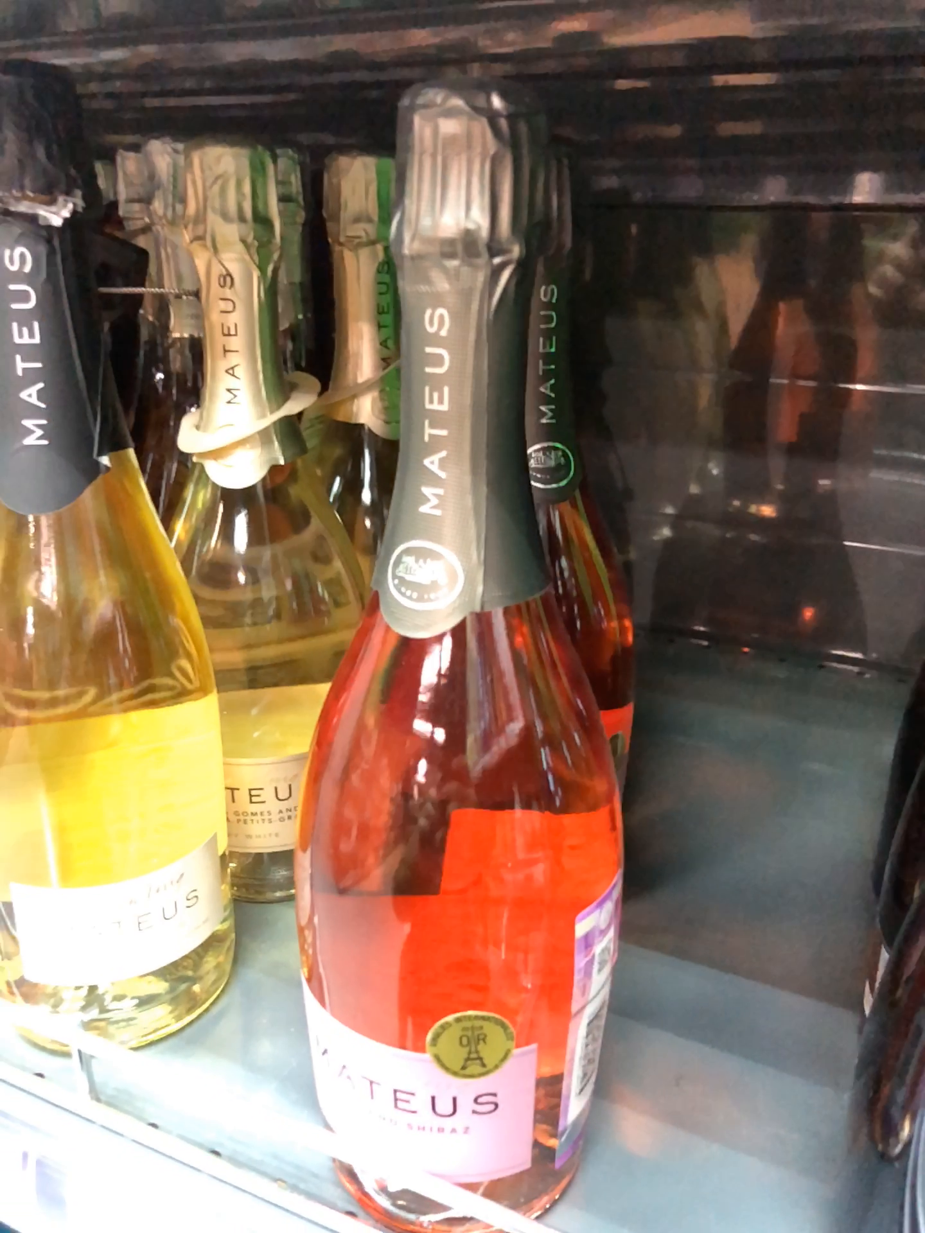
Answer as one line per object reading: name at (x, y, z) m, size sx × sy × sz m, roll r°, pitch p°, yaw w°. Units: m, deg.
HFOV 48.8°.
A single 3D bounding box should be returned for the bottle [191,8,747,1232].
bottle at (0.004, 0.023, 0.287) m, size 0.100 × 0.319 × 0.090 m, roll 9°, pitch 21°, yaw 23°
